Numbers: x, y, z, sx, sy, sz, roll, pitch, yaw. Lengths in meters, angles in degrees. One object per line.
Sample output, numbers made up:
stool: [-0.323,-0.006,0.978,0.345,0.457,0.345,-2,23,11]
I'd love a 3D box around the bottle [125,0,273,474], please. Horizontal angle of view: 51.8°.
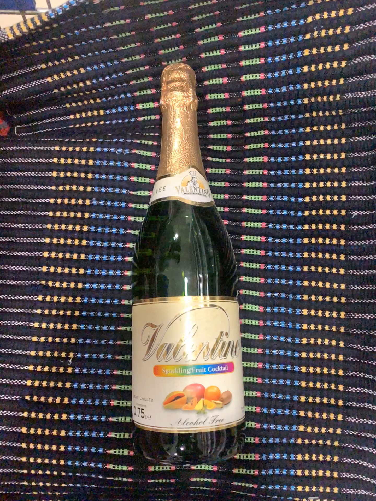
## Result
bottle: [-0.002,-0.029,0.313,0.090,0.080,0.350,0,76,-7]
